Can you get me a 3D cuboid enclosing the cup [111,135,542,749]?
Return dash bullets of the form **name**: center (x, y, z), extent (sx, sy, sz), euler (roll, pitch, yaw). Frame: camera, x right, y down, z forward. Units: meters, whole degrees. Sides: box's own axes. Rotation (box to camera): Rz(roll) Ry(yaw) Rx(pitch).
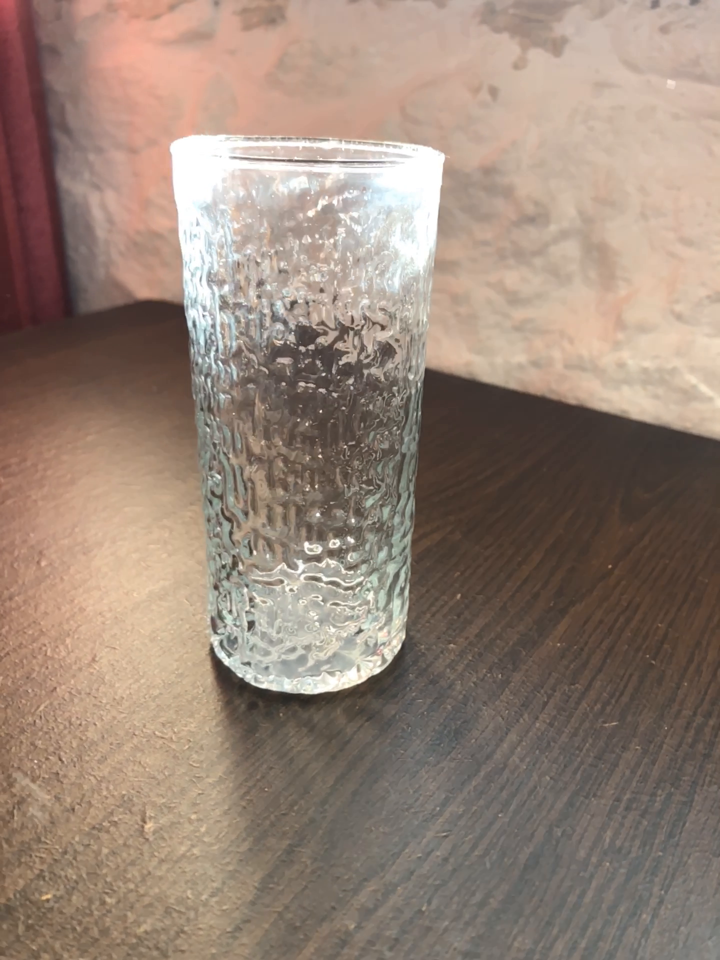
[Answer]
- **cup**: center (-0.010, -0.016, 0.209), extent (0.070, 0.130, 0.068), euler (3, 25, -1)
